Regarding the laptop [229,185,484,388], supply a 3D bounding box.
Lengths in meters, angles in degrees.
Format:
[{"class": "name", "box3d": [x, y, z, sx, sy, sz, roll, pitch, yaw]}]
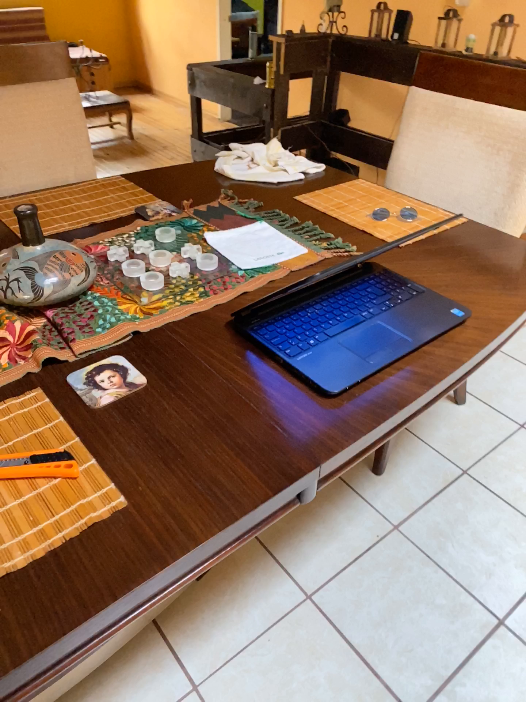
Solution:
[{"class": "laptop", "box3d": [0.156, -0.135, 0.923, 0.357, 0.158, 0.249, -26, 45, -32]}]
